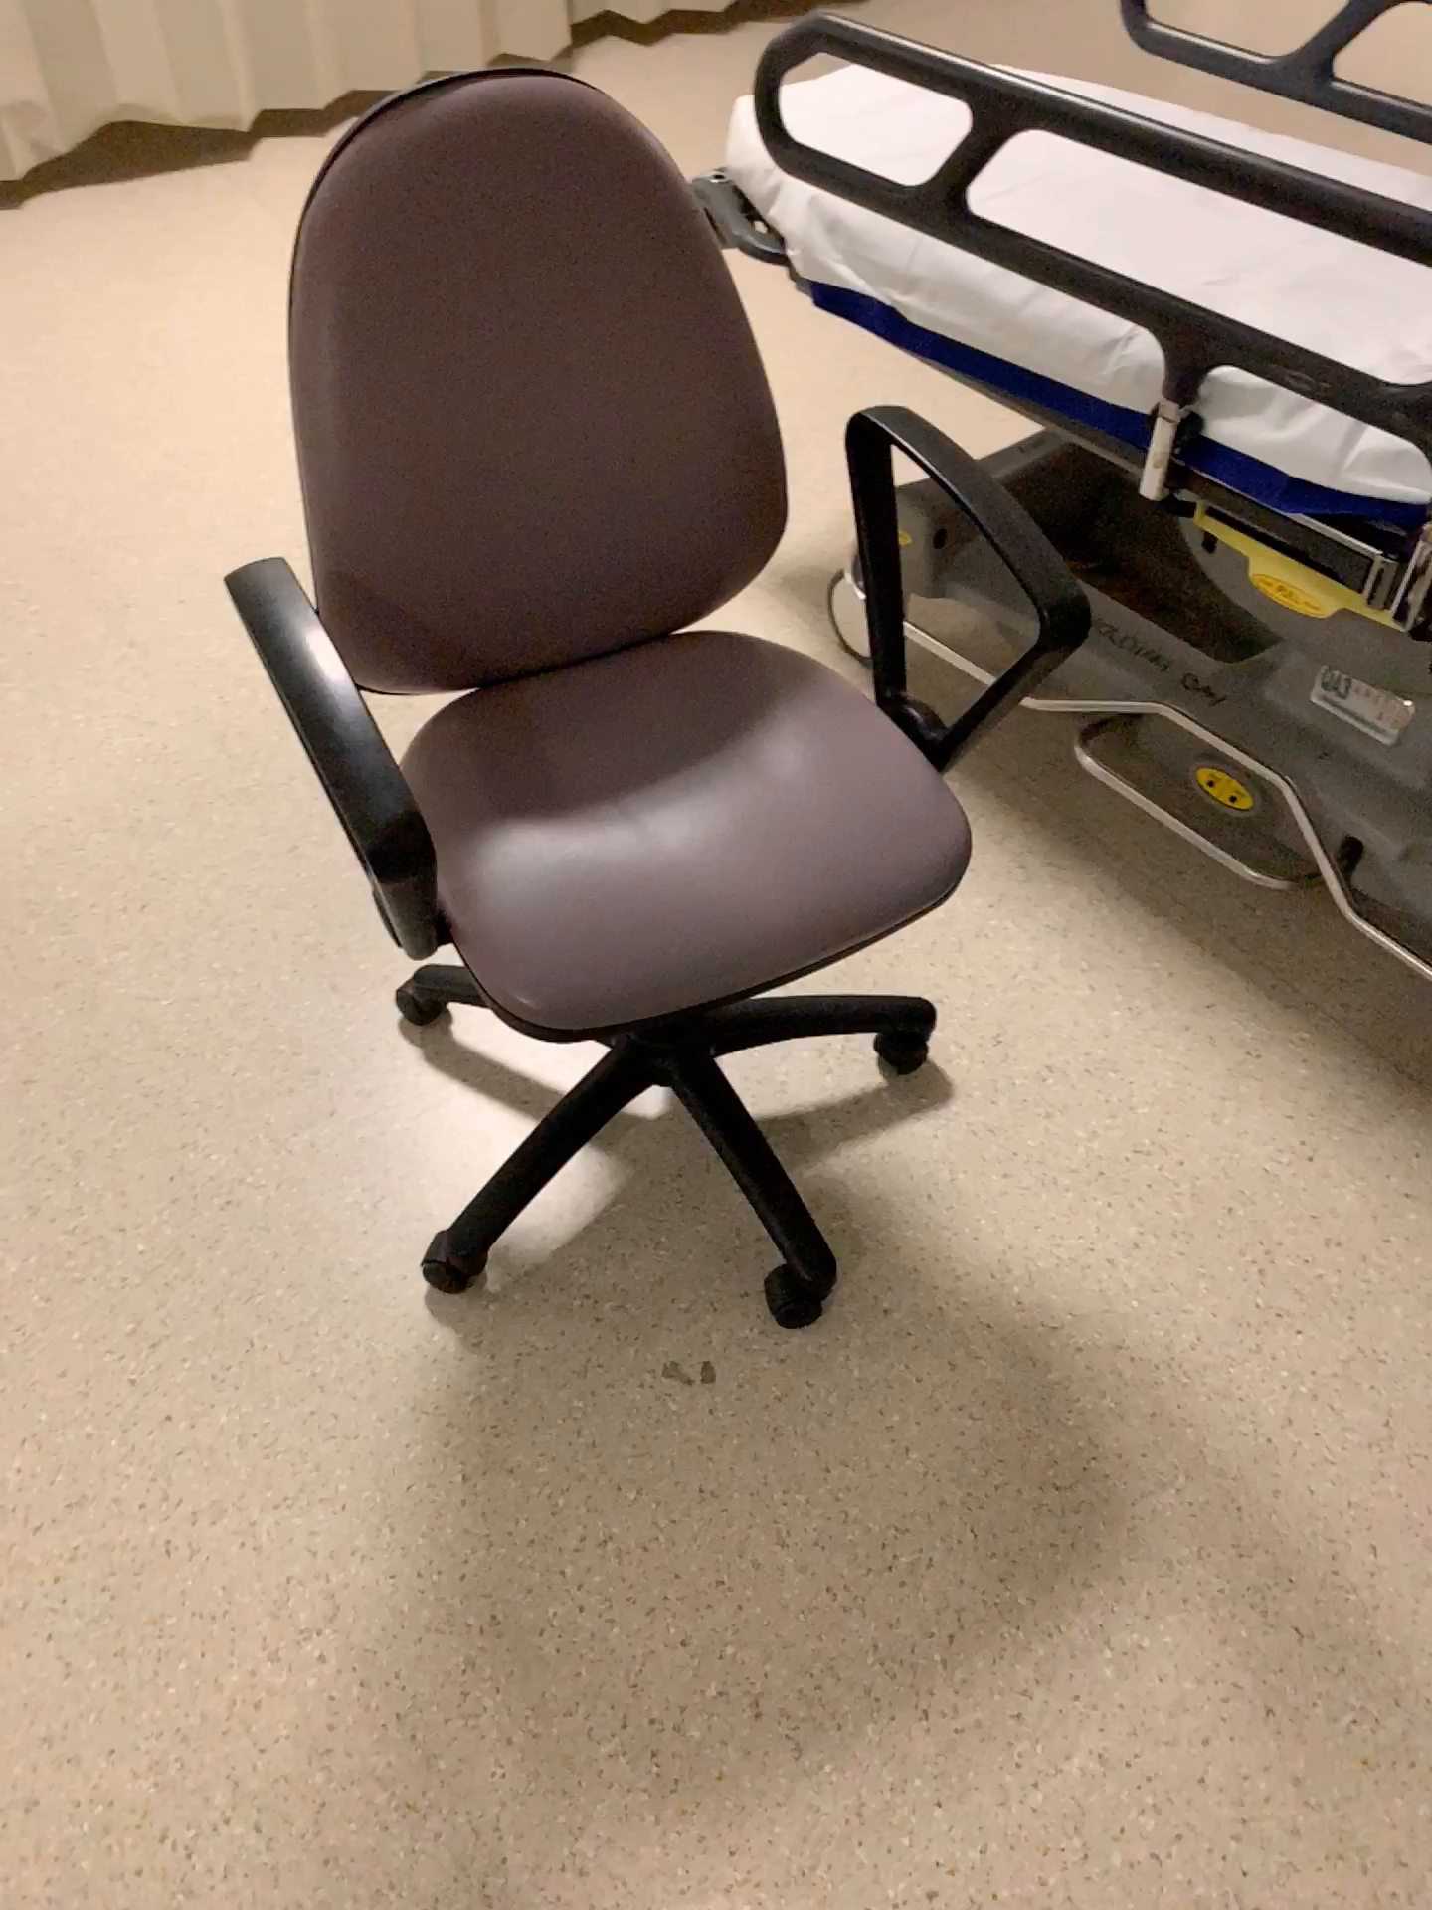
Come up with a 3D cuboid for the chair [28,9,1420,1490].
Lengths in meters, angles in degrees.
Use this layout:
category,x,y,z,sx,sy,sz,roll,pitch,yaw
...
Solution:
category,x,y,z,sx,sy,sz,roll,pitch,yaw
chair,-0.059,-0.170,1.258,0.651,0.882,0.715,-18,51,-17
